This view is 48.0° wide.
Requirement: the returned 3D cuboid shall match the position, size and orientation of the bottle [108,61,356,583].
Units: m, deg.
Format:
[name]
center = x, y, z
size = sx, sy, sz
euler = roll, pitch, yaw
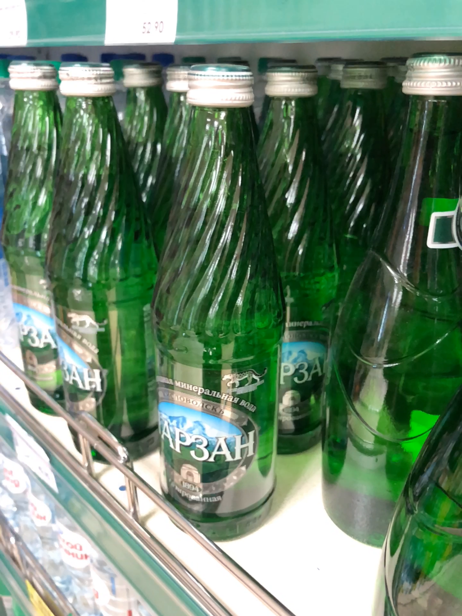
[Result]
[bottle]
center = -0.001, 0.010, 0.258
size = 0.080, 0.240, 0.060
euler = 21, 32, 38
